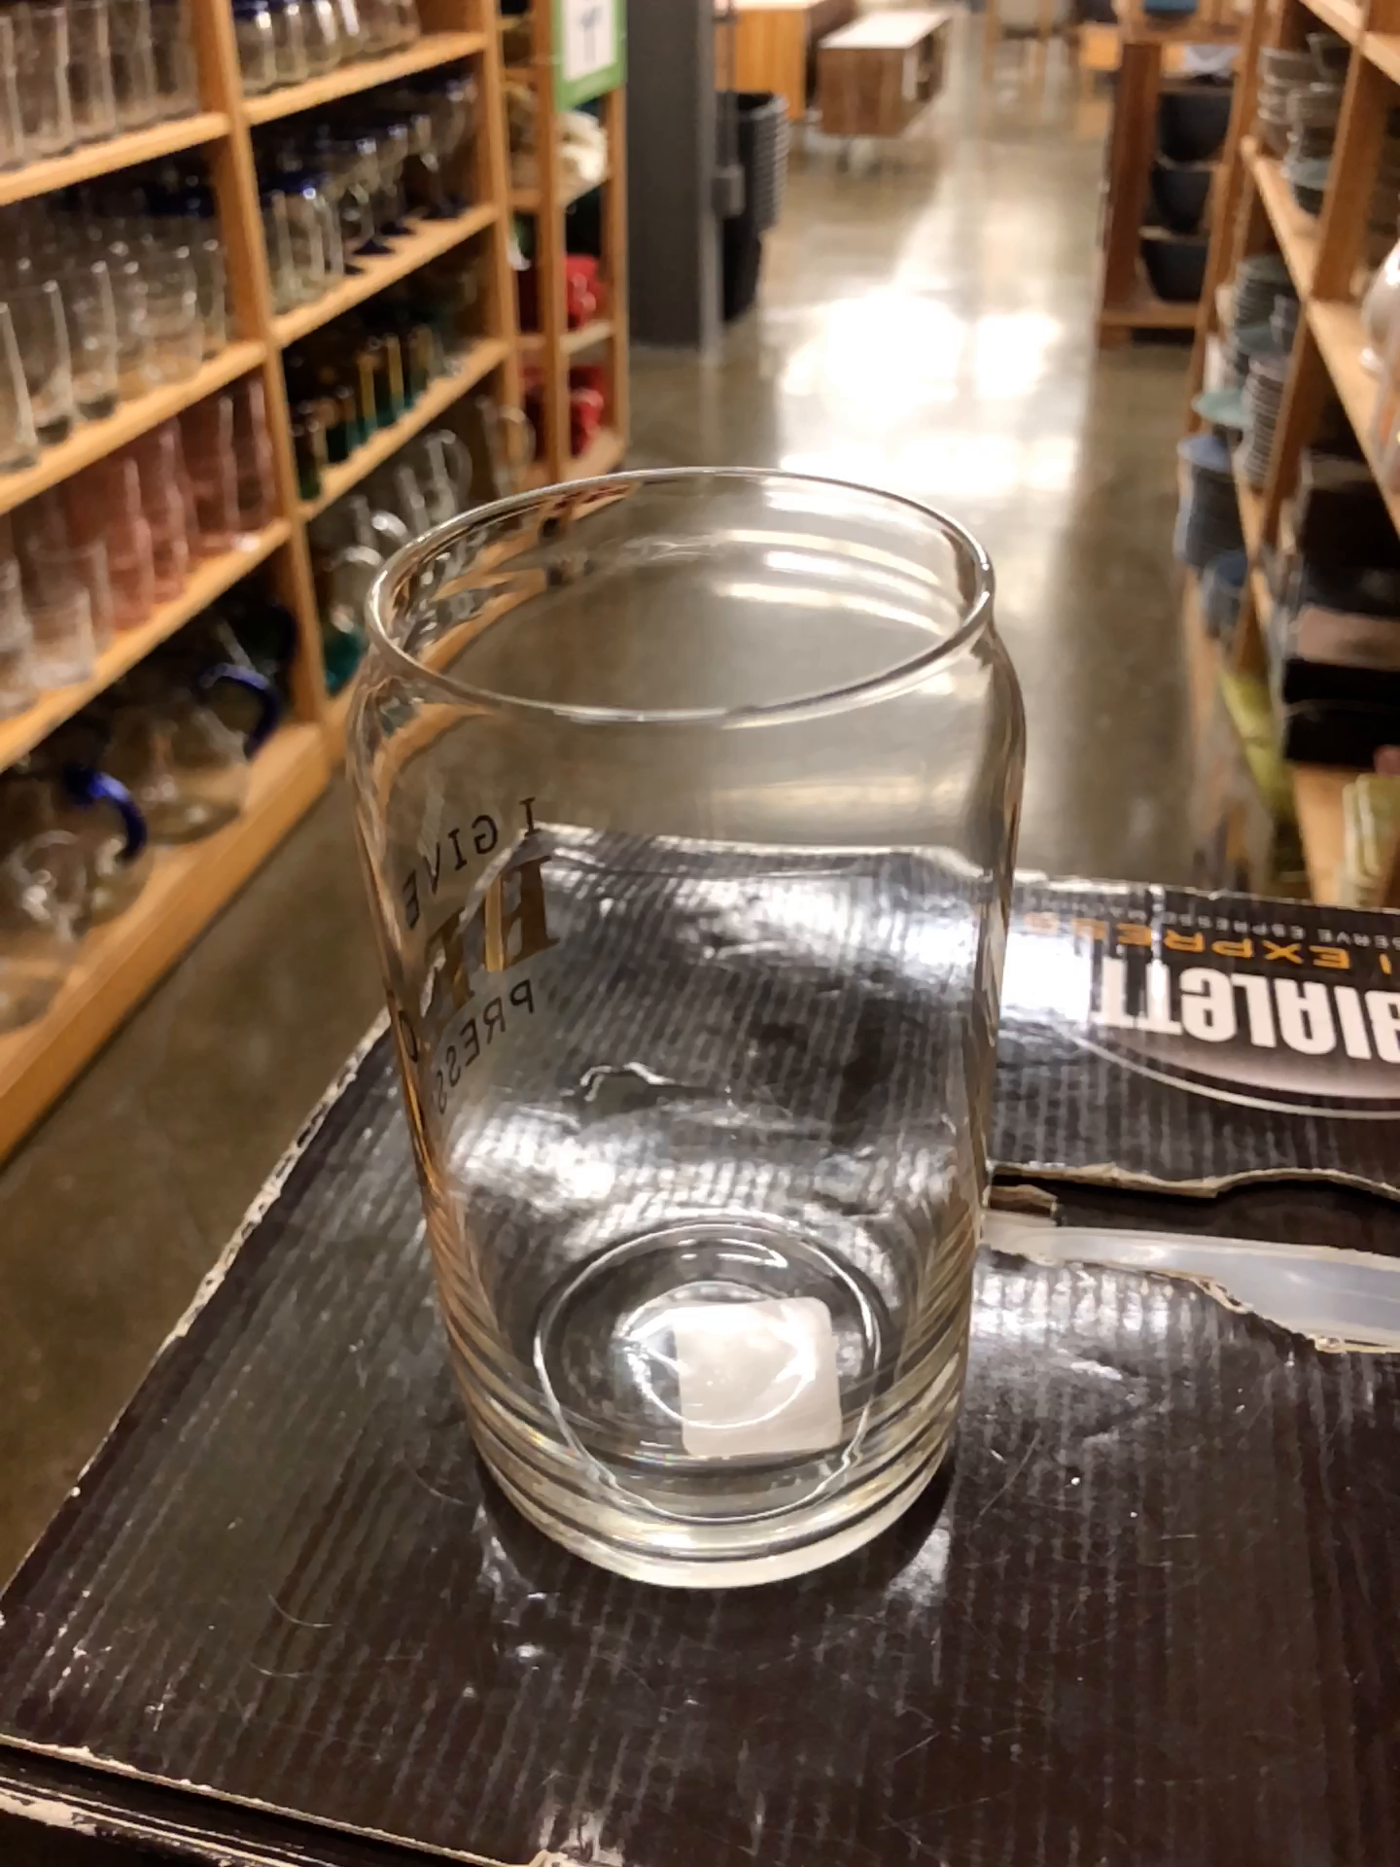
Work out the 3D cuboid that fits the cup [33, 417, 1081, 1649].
[{"bbox_3d":[-0.007,0.009,0.194,0.087,0.116,0.081,0,34,0],"label":"cup"}]
